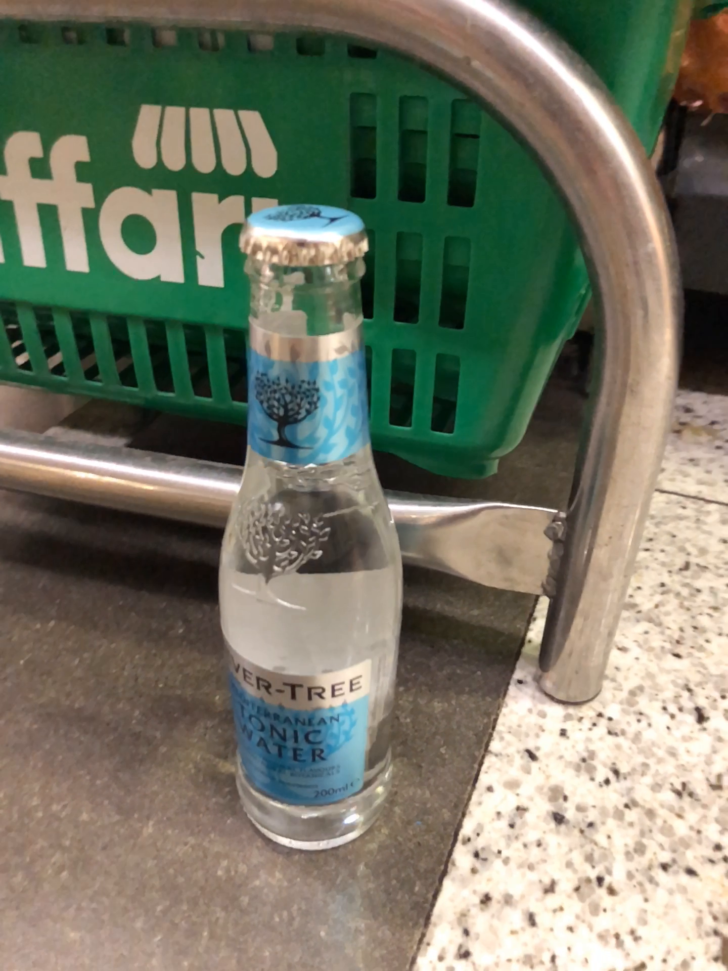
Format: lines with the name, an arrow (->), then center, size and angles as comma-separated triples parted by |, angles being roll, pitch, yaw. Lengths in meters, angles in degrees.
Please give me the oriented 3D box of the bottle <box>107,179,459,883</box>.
bottle -> -0.016, 0.022, 0.222 | 0.060, 0.189, 0.050 | 10, 33, 14
